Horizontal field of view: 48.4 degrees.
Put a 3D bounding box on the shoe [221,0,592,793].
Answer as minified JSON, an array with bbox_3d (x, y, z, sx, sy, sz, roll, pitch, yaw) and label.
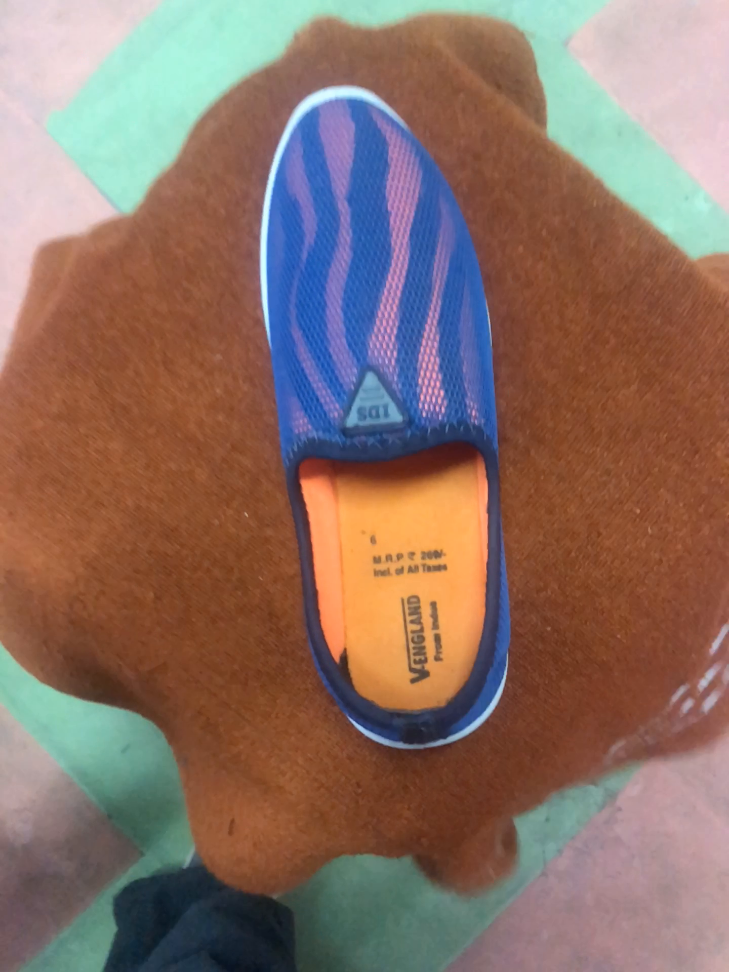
[{"bbox_3d":[0.014,-0.033,0.305,0.090,0.070,0.260,-7,89,1],"label":"shoe"}]
